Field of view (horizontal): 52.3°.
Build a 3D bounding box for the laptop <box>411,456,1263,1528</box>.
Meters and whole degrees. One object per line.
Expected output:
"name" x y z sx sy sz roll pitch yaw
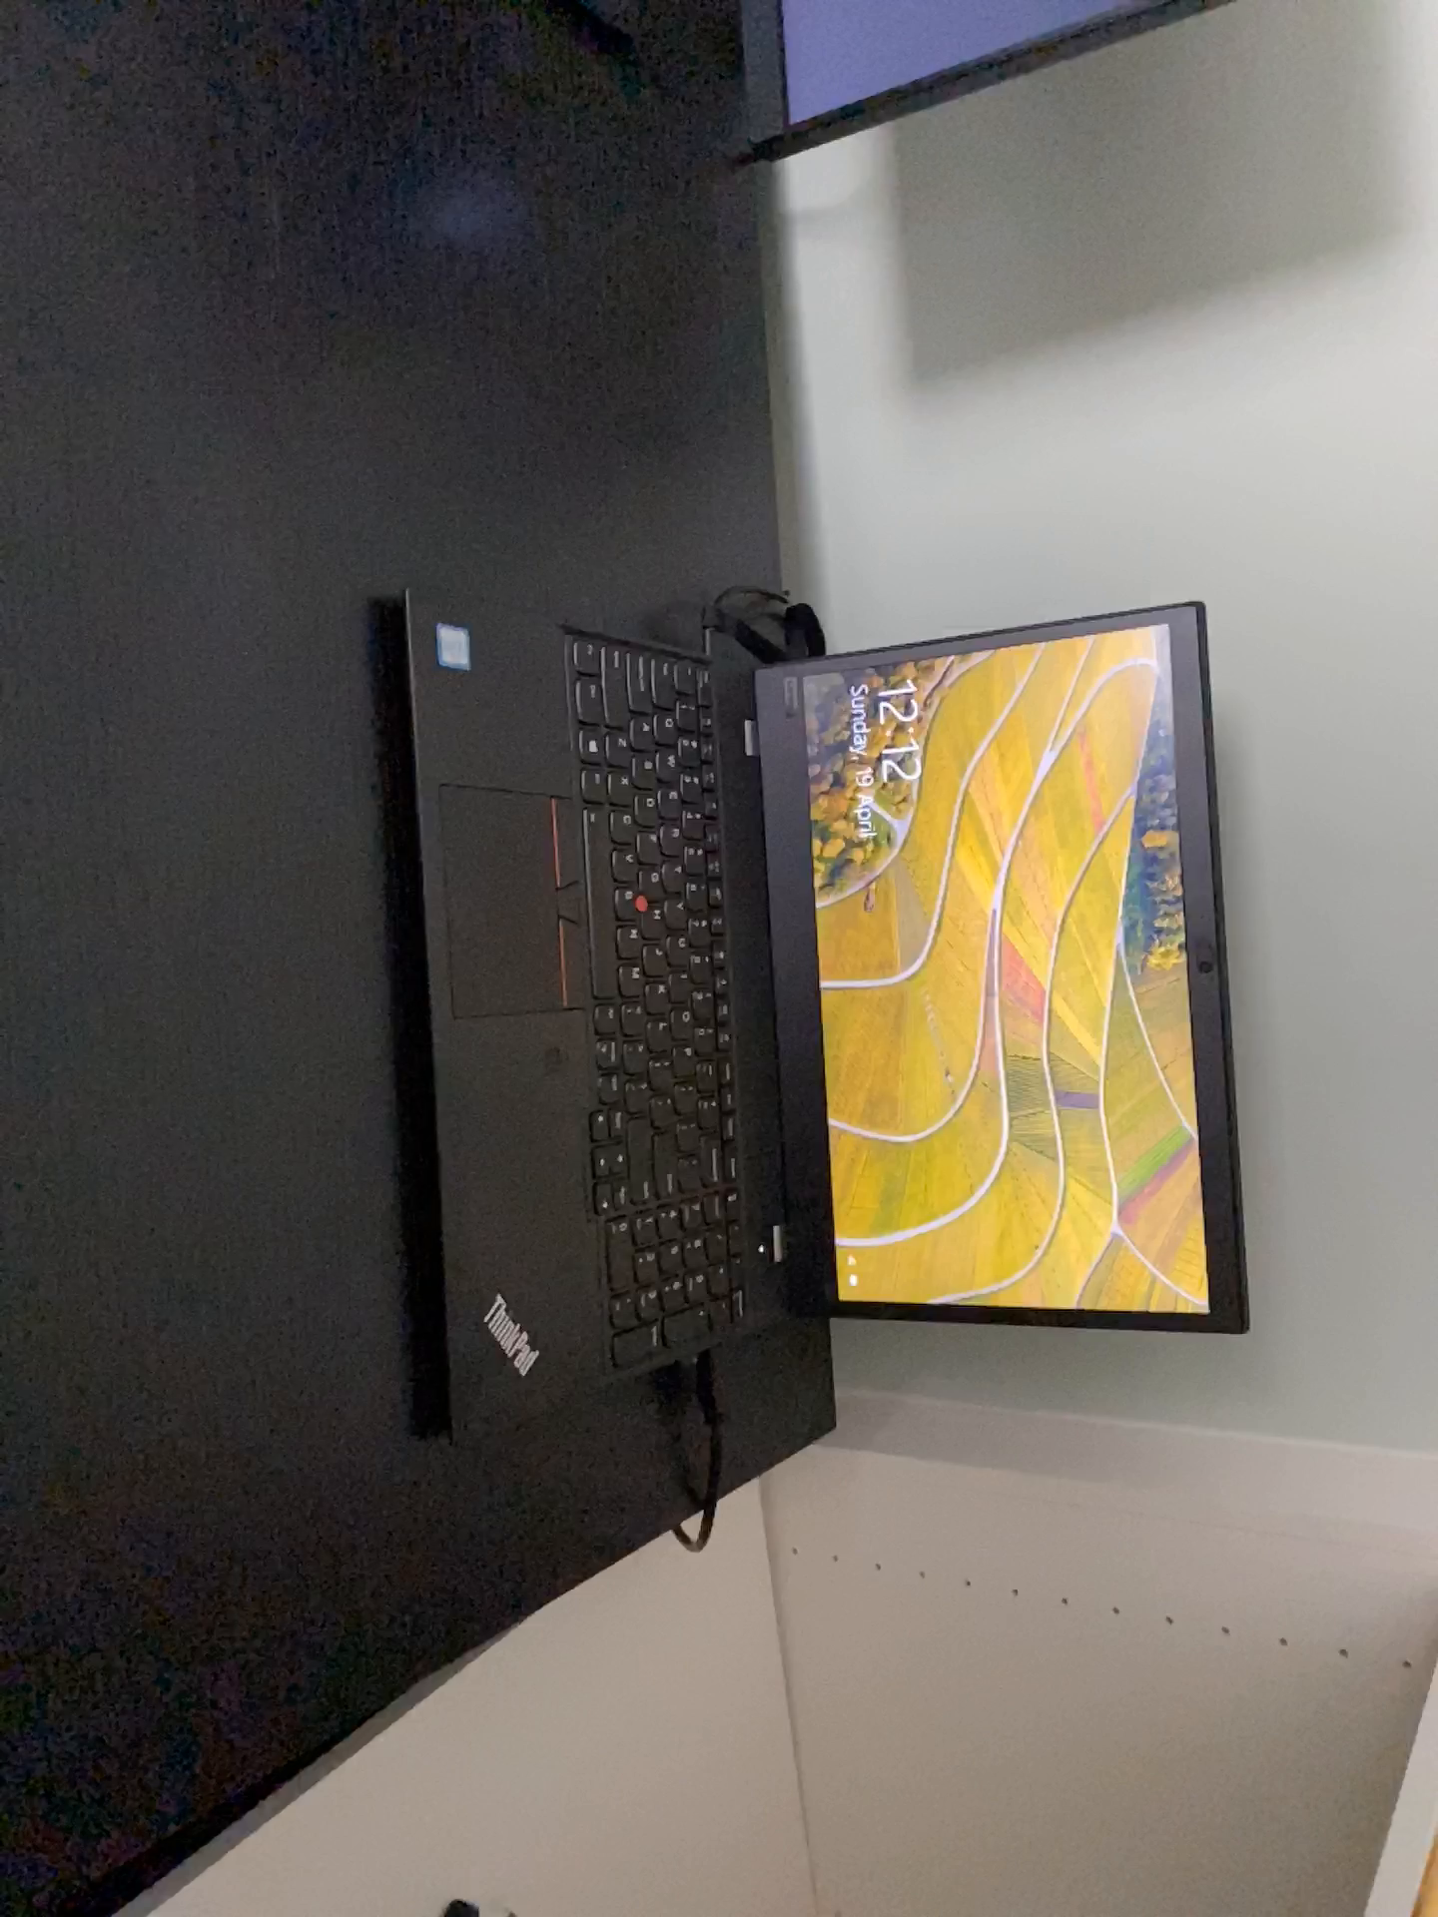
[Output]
"laptop" 0.068 0.014 0.660 0.295 0.231 0.351 -1 87 -54
